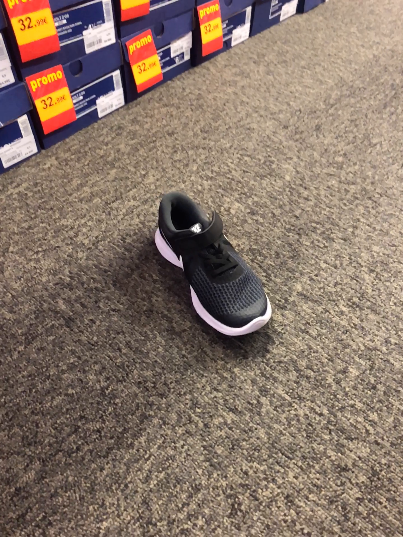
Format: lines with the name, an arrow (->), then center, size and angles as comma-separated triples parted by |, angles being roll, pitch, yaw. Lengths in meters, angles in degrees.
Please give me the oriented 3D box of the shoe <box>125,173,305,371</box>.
shoe -> 0.006, -0.006, 0.510 | 0.090, 0.080, 0.218 | -25, 54, -20
